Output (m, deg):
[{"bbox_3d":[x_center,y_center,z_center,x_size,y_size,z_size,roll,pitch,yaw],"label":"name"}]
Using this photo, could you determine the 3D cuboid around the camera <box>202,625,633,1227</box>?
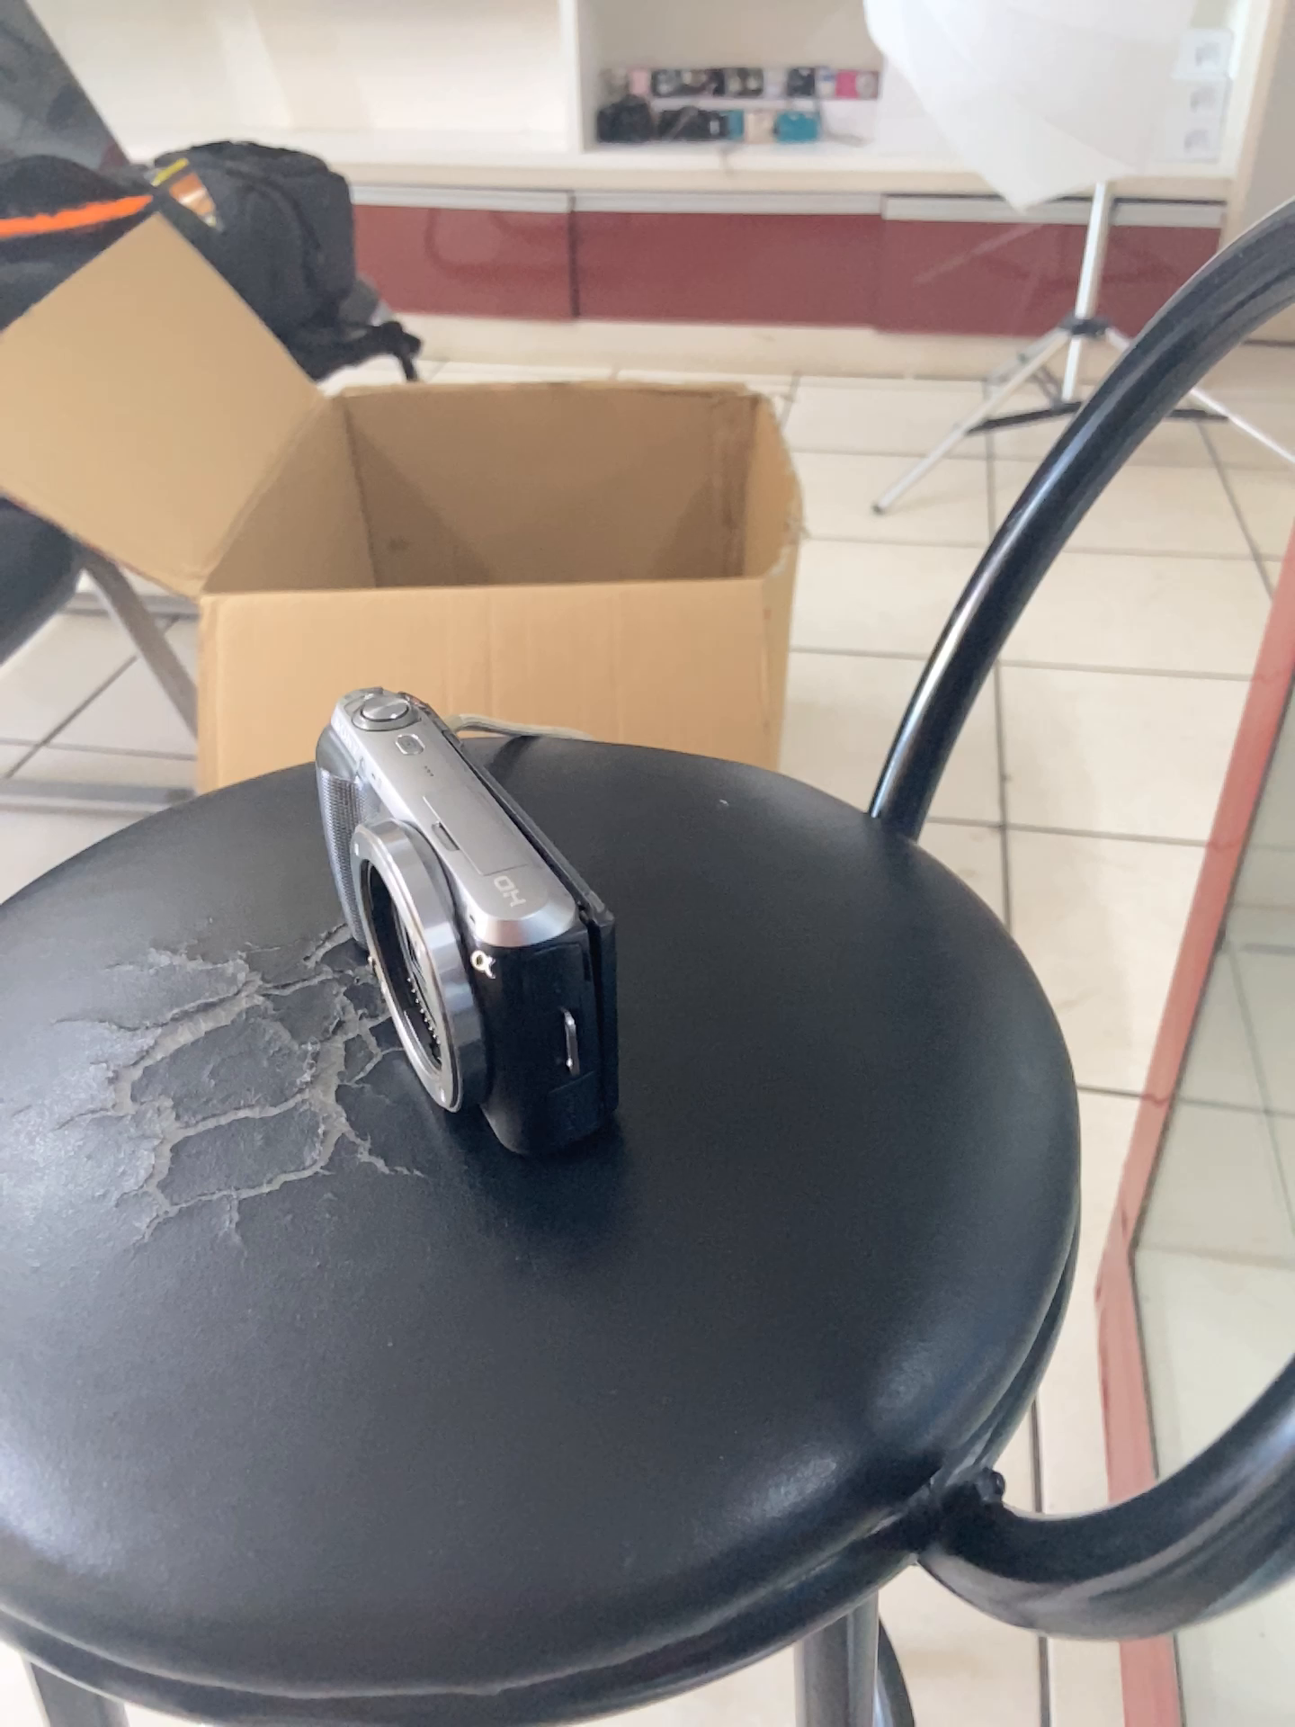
[{"bbox_3d":[-0.050,0.005,0.276,0.040,0.060,0.121,-19,39,-22],"label":"camera"}]
